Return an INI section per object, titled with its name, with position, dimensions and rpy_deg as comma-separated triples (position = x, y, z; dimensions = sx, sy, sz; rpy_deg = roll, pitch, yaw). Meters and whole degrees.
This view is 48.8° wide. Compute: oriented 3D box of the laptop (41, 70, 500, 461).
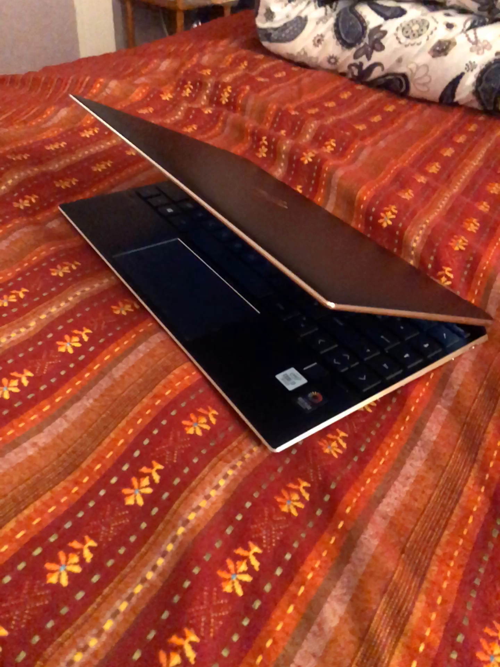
[laptop]
position = 0.002, -0.098, 0.406
dimensions = 0.203, 0.101, 0.326
rpy_deg = -19, 44, -31
